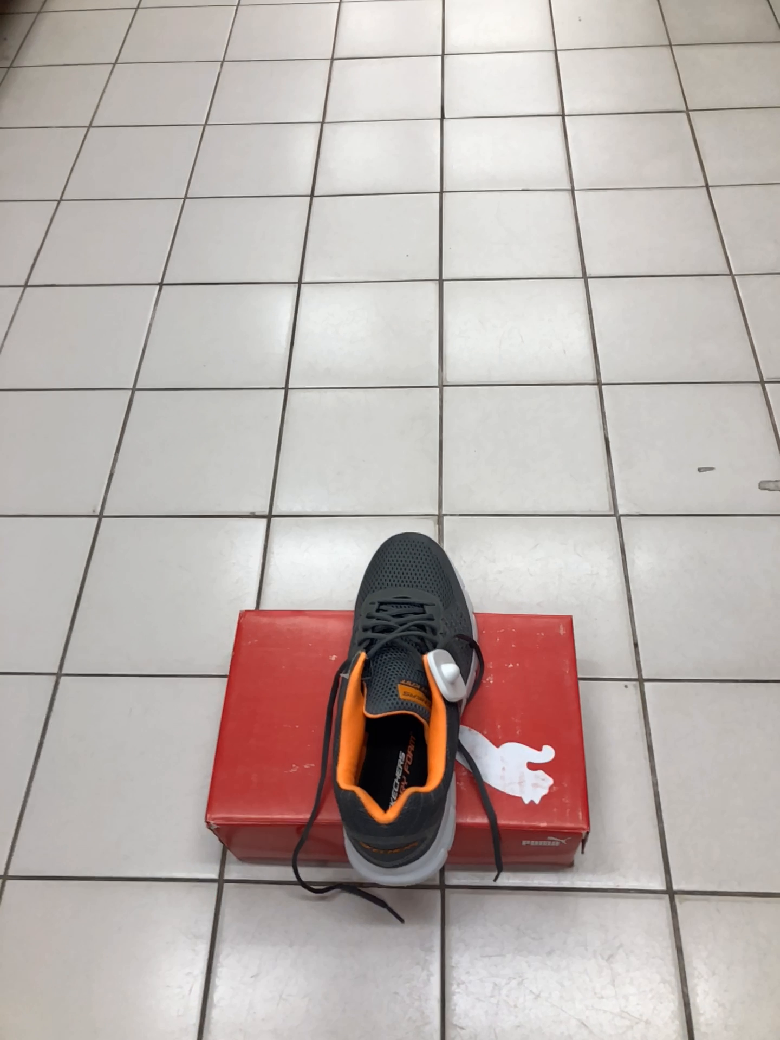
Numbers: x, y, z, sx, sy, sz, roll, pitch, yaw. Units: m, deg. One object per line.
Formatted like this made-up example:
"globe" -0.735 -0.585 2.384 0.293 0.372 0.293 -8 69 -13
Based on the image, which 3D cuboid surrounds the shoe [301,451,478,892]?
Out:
"shoe" 0.009 0.111 0.677 0.110 0.139 0.311 1 56 4
